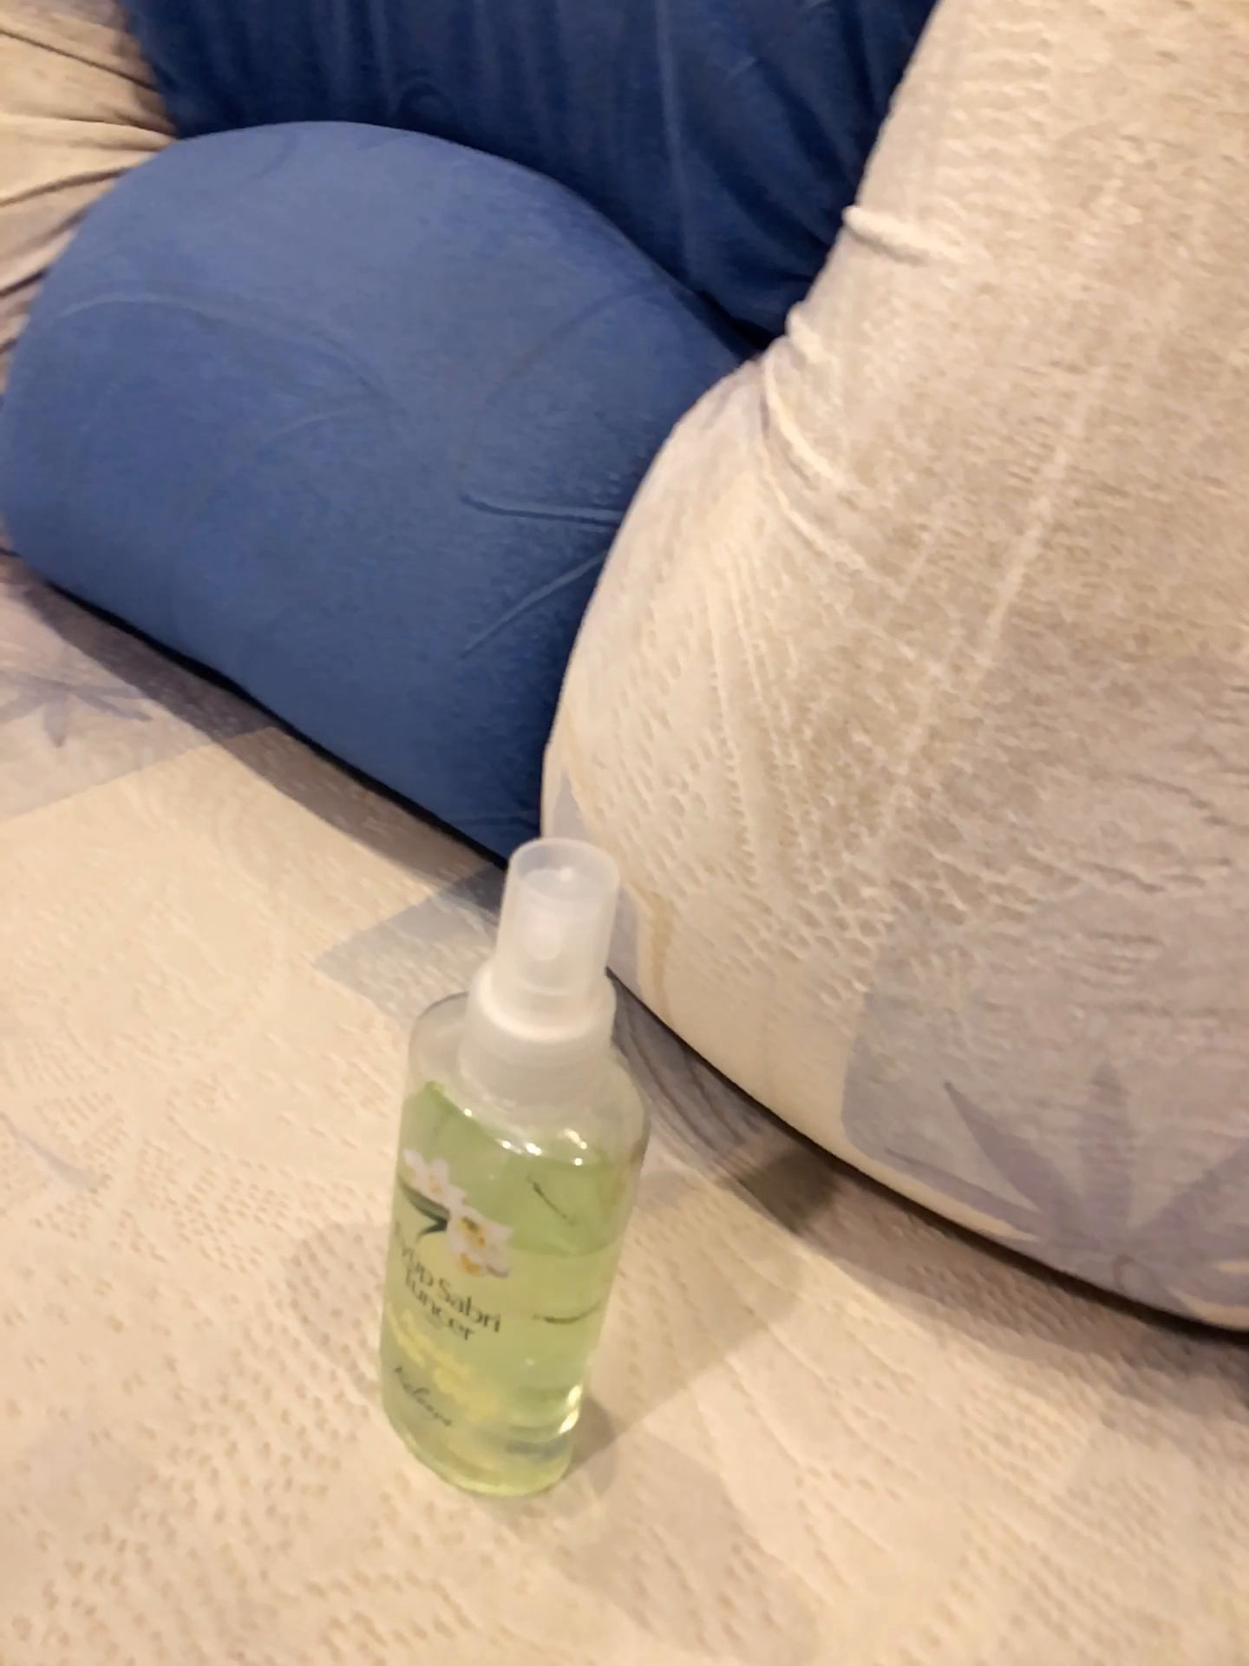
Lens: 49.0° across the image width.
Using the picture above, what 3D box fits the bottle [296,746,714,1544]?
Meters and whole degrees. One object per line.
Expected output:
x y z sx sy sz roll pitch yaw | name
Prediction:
-0.030 0.065 0.270 0.058 0.149 0.037 30 37 29 | bottle
